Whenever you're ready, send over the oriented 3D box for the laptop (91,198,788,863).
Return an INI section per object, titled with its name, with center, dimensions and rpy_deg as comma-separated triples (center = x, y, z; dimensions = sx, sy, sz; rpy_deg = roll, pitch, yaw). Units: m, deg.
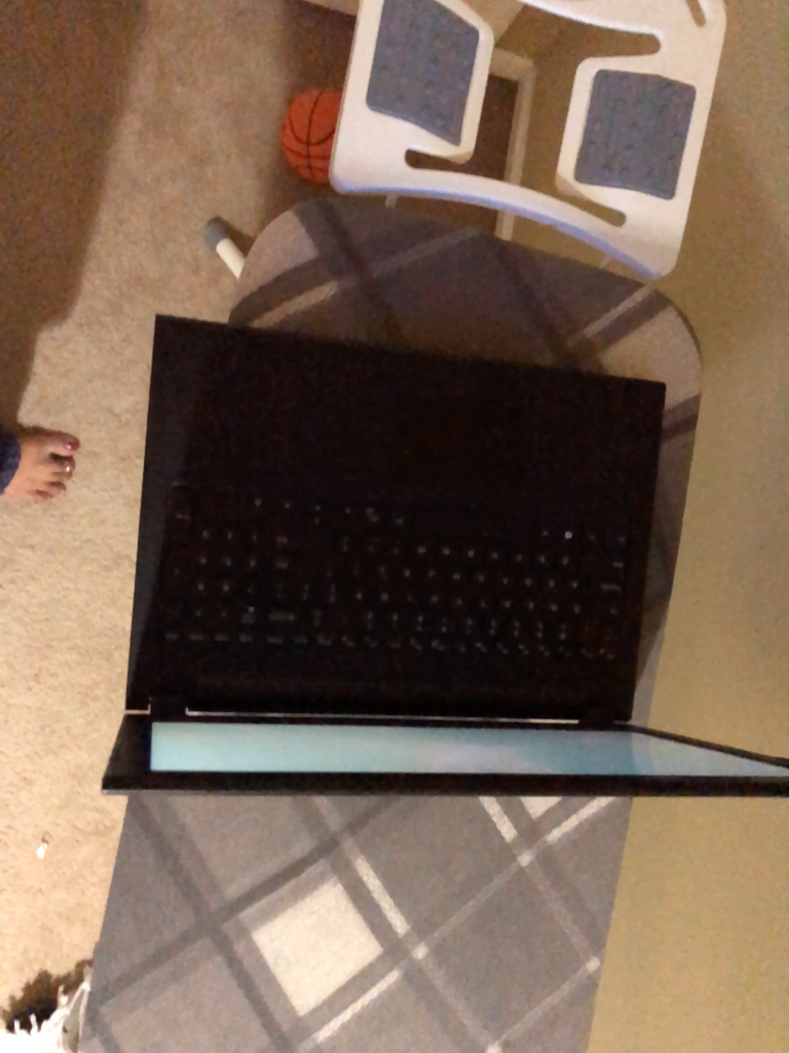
[laptop]
center = 0.041, 0.011, 0.478
dimensions = 0.353, 0.232, 0.247
rpy_deg = 5, 91, -15
